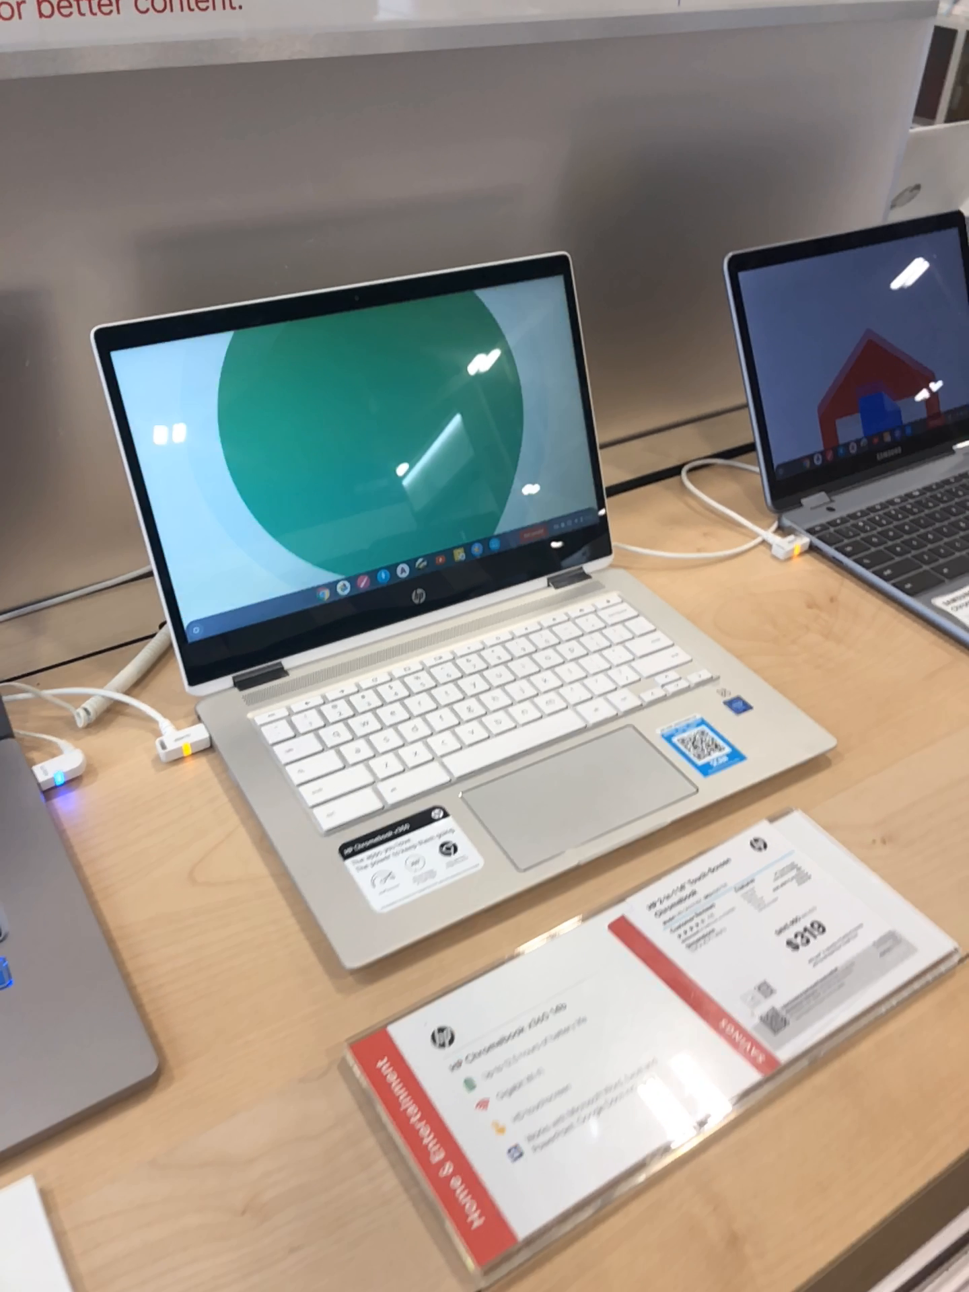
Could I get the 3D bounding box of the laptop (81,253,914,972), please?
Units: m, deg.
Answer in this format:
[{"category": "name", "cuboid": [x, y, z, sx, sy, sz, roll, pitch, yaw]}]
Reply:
[{"category": "laptop", "cuboid": [-0.008, -0.059, 0.628, 0.324, 0.205, 0.319, -19, 43, -27]}]
